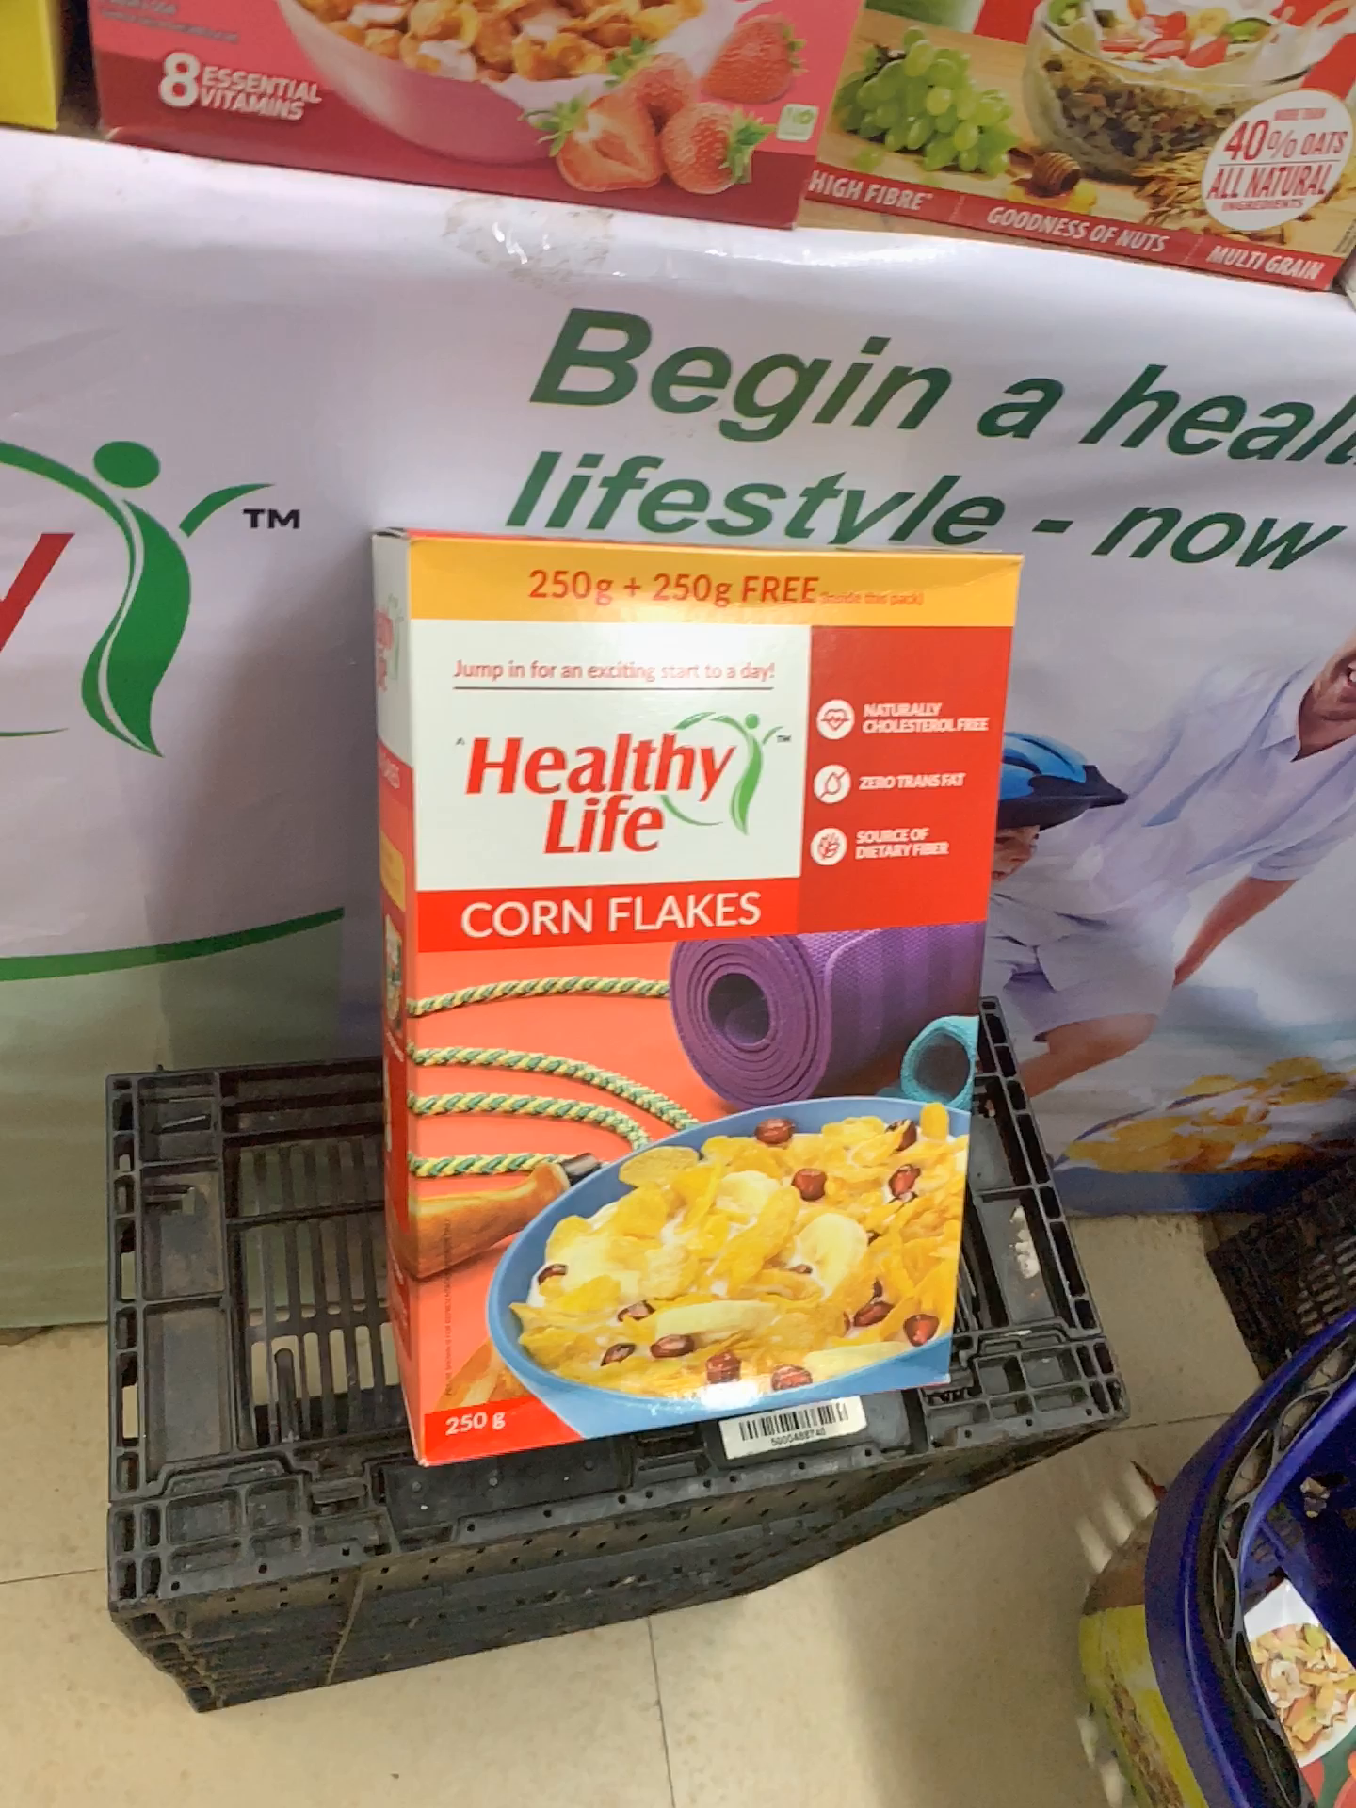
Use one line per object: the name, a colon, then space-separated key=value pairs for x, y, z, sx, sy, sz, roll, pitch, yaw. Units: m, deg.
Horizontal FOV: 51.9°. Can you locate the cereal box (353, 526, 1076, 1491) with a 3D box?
cereal box: x=0.003 y=0.026 z=0.455 sx=0.200 sy=0.280 sz=0.090 roll=-2 pitch=15 yaw=-17
